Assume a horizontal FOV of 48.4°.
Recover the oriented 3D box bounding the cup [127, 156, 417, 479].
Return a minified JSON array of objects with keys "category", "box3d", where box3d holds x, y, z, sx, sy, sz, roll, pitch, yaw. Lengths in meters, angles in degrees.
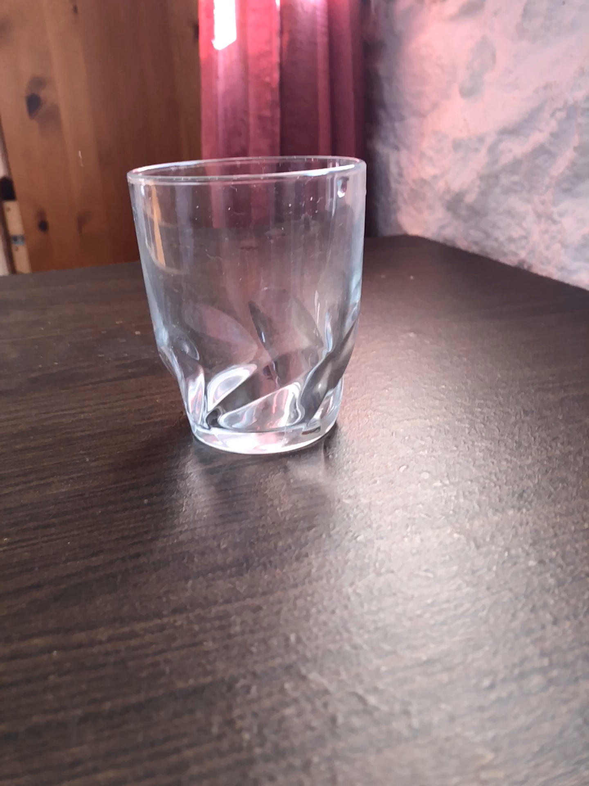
[{"category":"cup","box3d":[-0.011,-0.033,0.225,0.075,0.085,0.078,-2,23,1]}]
